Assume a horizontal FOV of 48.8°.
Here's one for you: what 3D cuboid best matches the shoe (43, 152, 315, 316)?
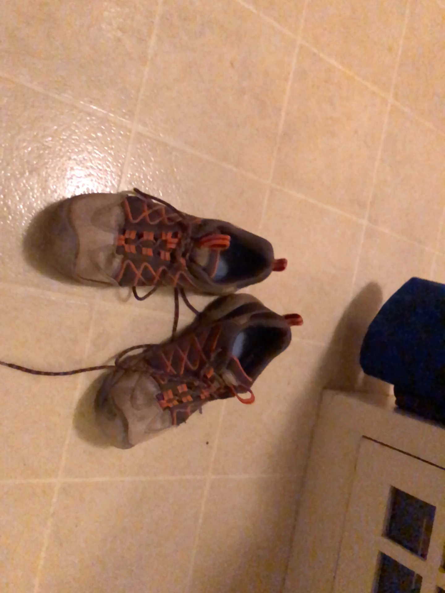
[{"bbox_3d":[-0.045,-0.062,0.601,0.293,0.122,0.127,9,90,-34],"label":"shoe"}]

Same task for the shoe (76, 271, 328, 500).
[{"bbox_3d":[-0.019,0.096,0.641,0.283,0.122,0.127,-36,113,-25],"label":"shoe"}]
